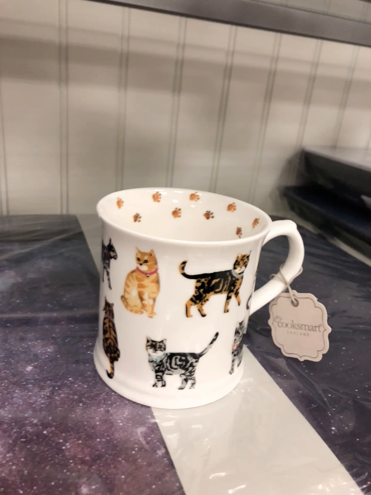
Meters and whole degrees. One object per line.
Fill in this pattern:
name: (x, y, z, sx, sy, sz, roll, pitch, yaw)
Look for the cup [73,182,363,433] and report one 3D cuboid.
cup: (0.009, 0.022, 0.254, 0.137, 0.099, 0.096, -4, 25, -24)
